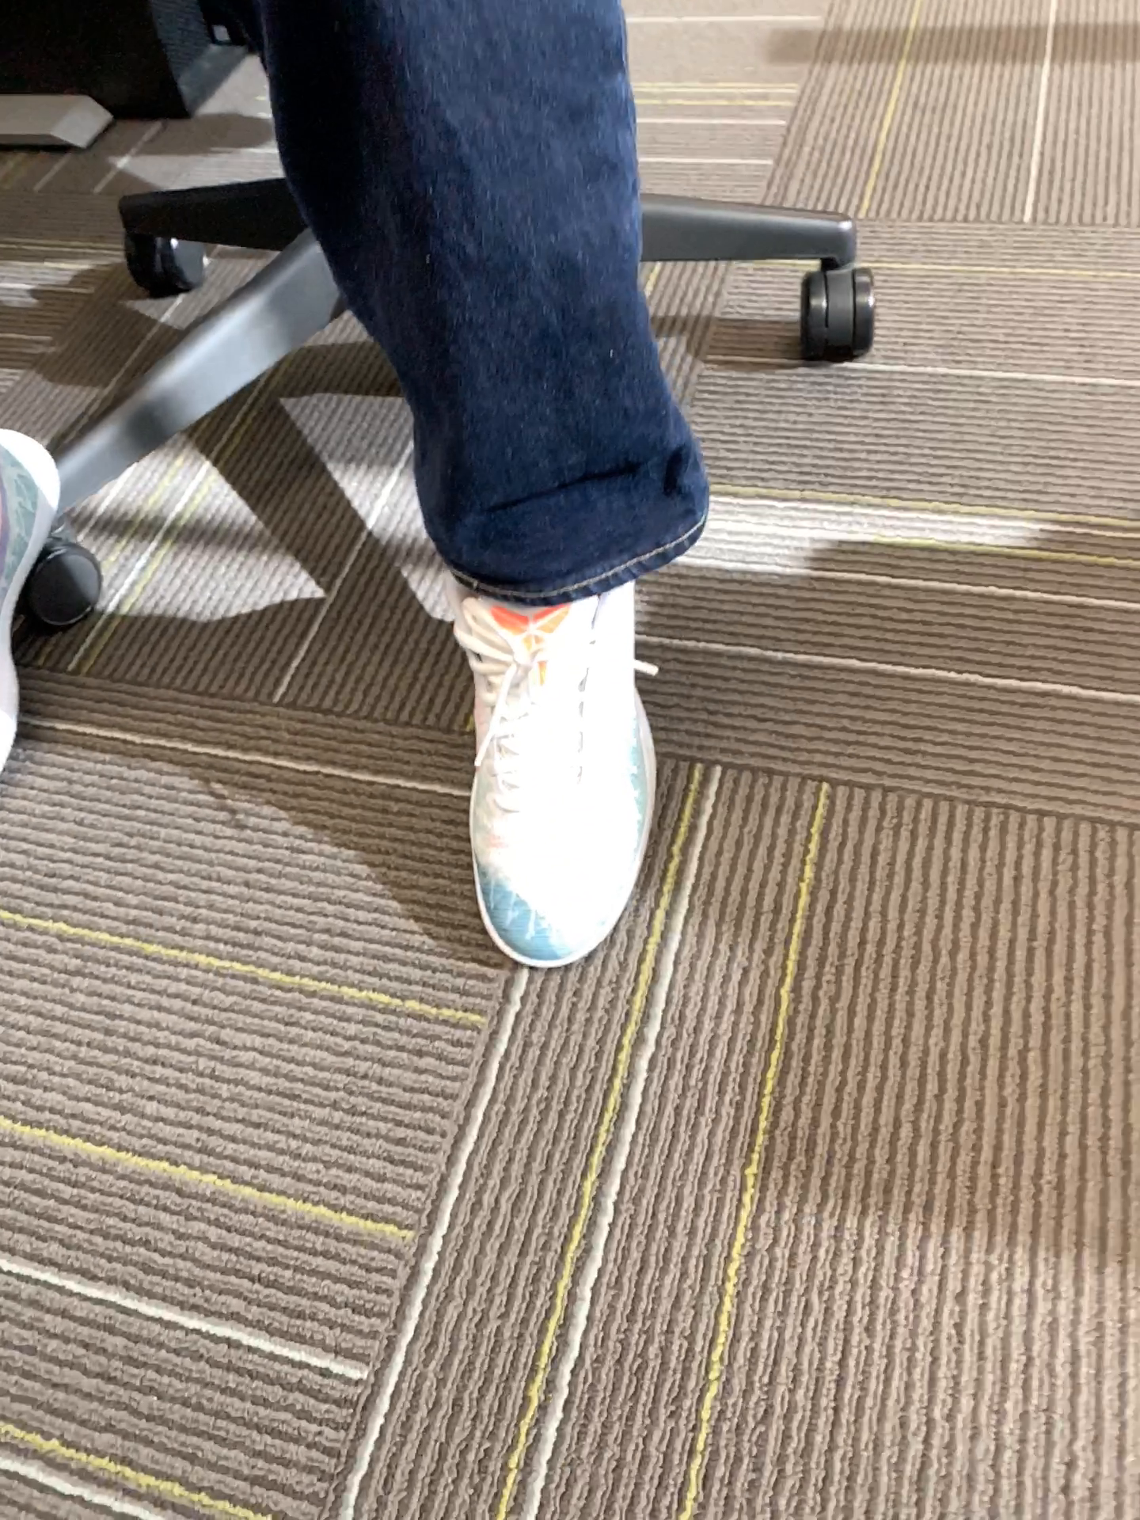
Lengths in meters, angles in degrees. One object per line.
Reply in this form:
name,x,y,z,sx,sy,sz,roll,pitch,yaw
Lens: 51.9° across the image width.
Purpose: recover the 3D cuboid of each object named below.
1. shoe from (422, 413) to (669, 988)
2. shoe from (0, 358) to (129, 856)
shoe,-0.007,-0.037,0.674,0.113,0.109,0.311,-3,65,7
shoe,-0.401,-0.103,0.743,0.106,0.109,0.304,3,62,11
